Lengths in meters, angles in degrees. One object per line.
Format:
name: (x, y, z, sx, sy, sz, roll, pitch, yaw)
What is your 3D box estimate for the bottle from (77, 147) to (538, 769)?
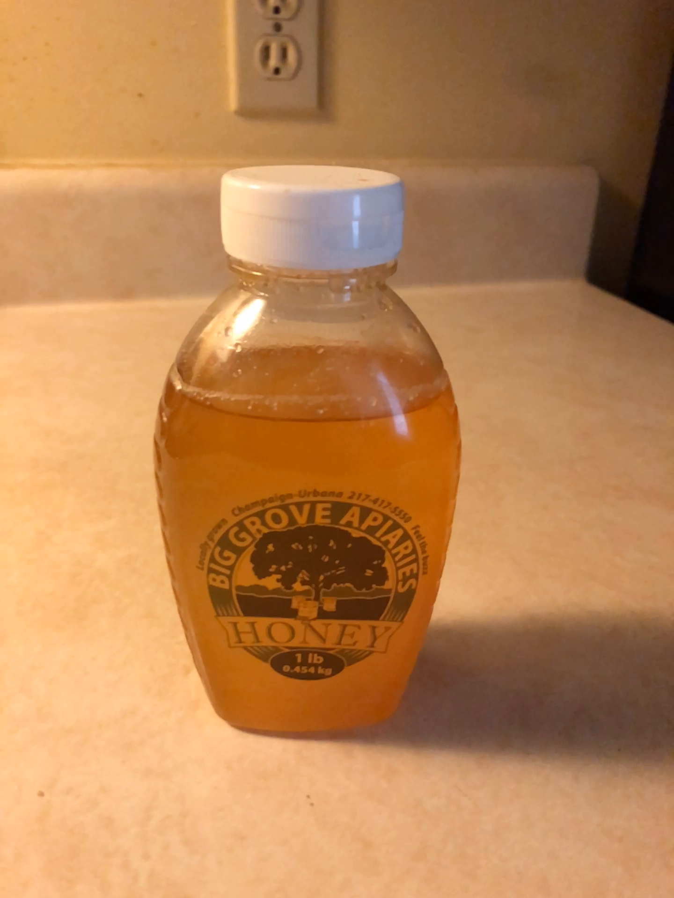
bottle: (-0.008, 0.003, 0.188, 0.080, 0.140, 0.060, -1, 26, -5)
